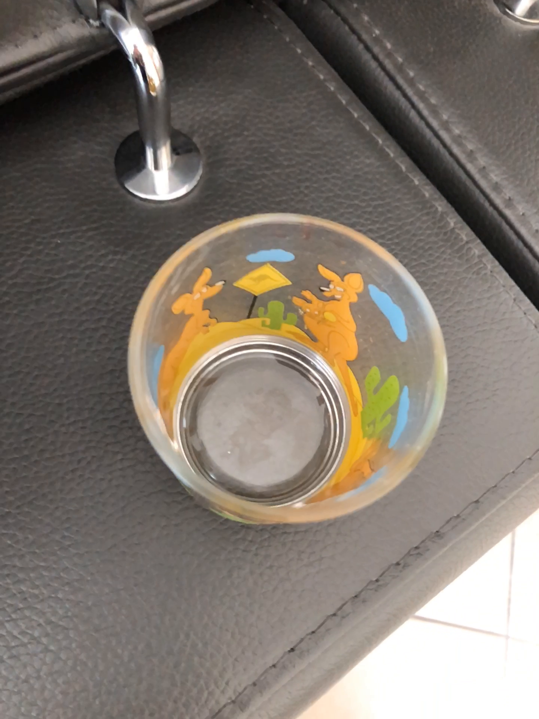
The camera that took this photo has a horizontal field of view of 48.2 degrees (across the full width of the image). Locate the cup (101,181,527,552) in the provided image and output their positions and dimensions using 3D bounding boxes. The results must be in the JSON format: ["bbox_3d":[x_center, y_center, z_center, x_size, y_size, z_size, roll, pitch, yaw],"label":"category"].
[{"bbox_3d":[0.005,0.008,0.172,0.080,0.080,0.070,-13,74,-11],"label":"cup"}]
